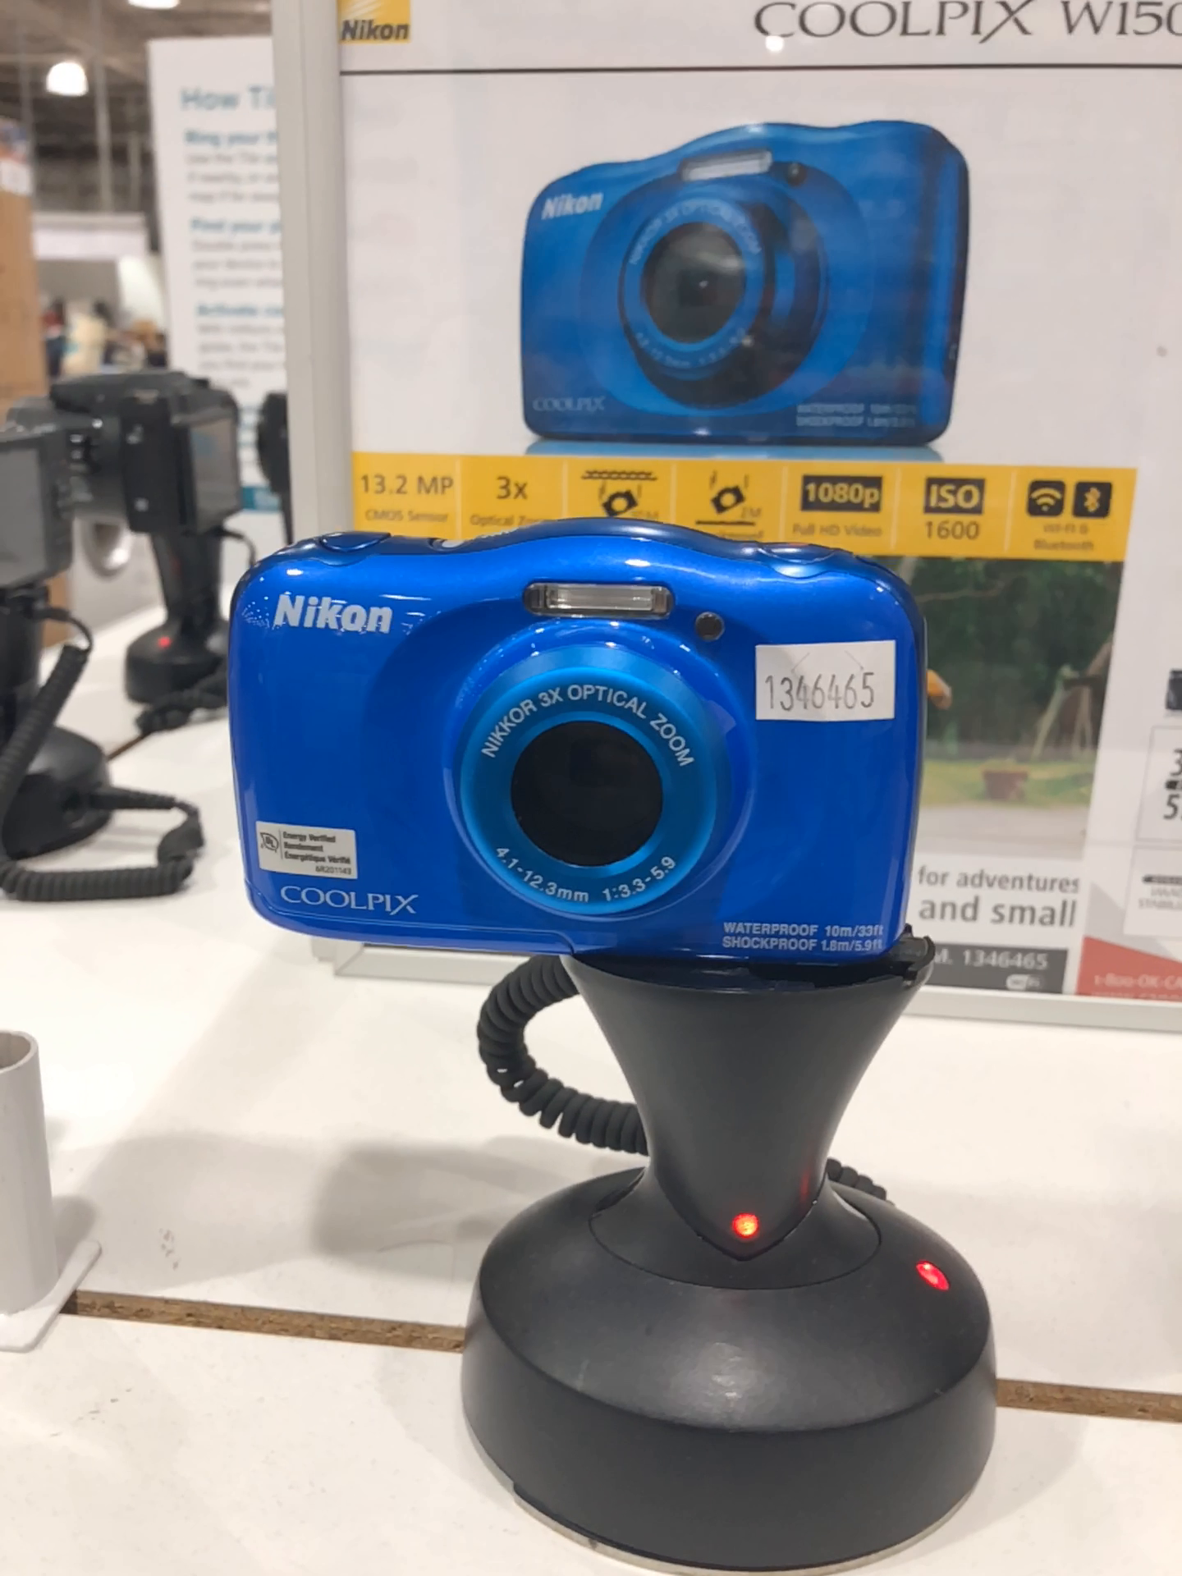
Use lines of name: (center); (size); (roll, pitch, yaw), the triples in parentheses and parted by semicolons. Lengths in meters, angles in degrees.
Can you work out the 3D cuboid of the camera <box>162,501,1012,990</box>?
camera: (-0.001, -0.009, 0.199); (0.110, 0.060, 0.040); (3, 17, 3)
